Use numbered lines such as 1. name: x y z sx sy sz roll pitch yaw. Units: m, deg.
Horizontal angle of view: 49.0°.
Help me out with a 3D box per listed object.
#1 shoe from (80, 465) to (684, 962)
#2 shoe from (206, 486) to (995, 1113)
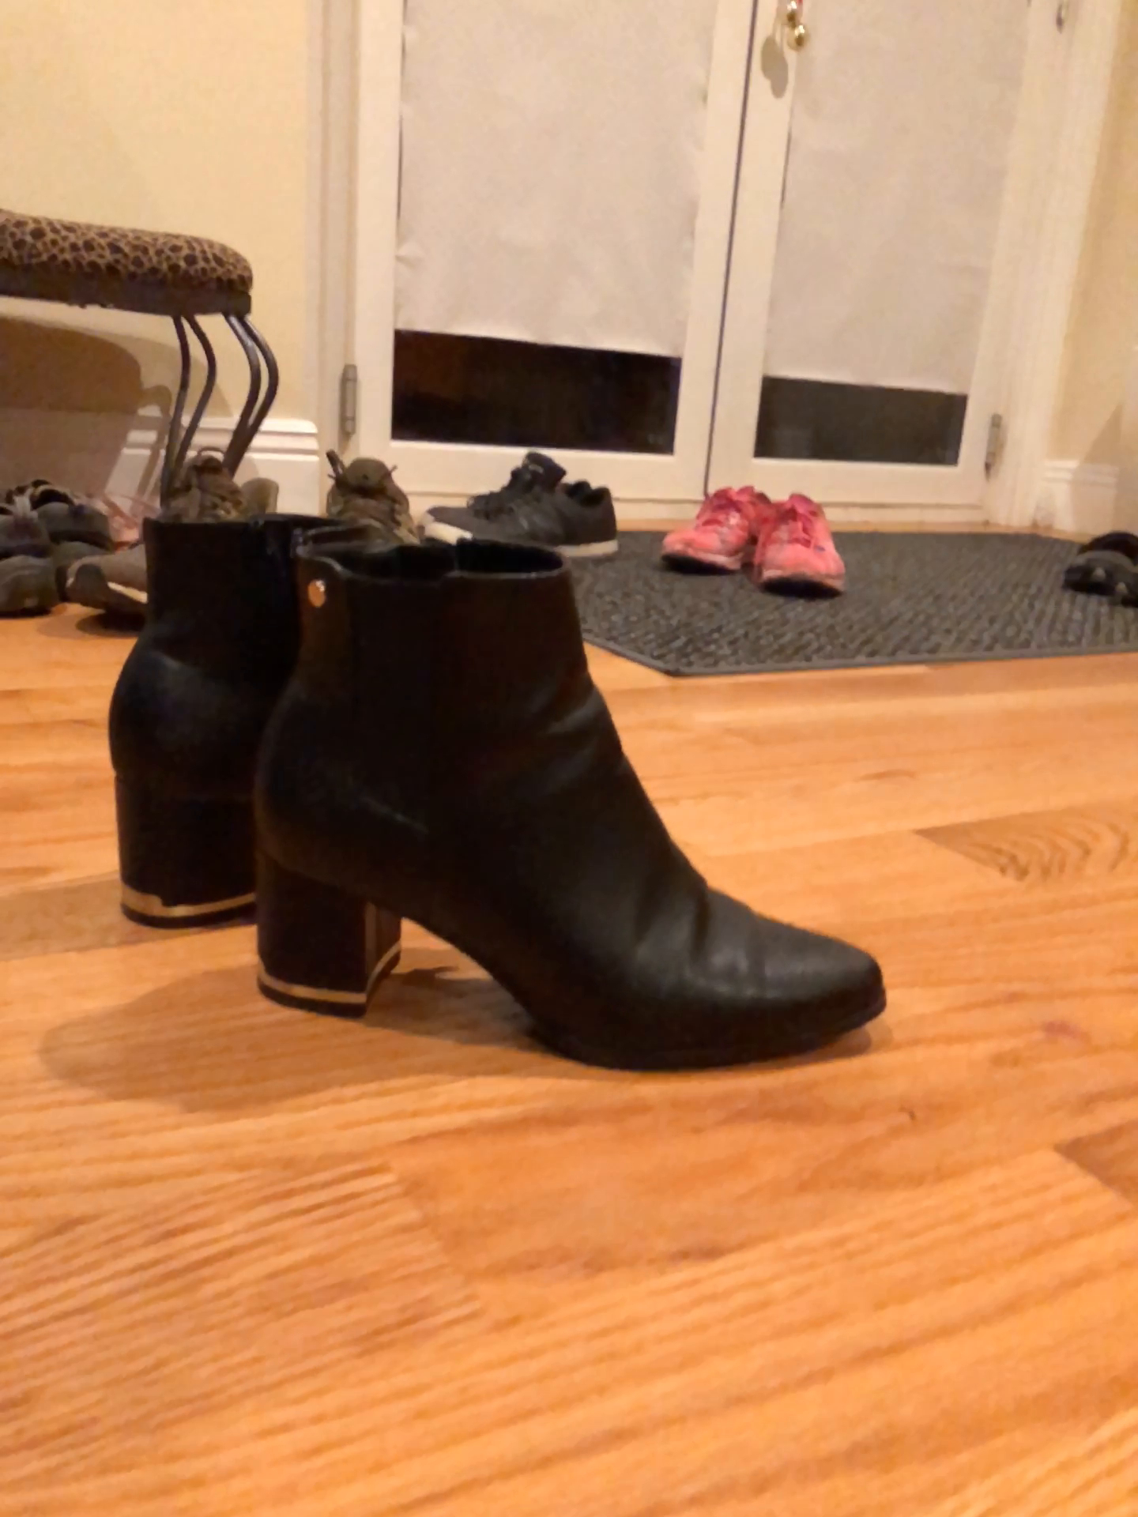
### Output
1. shoe: -0.078 -0.032 0.552 0.236 0.175 0.095 -7 19 -35
2. shoe: 0.005 0.006 0.439 0.236 0.175 0.095 6 15 6
